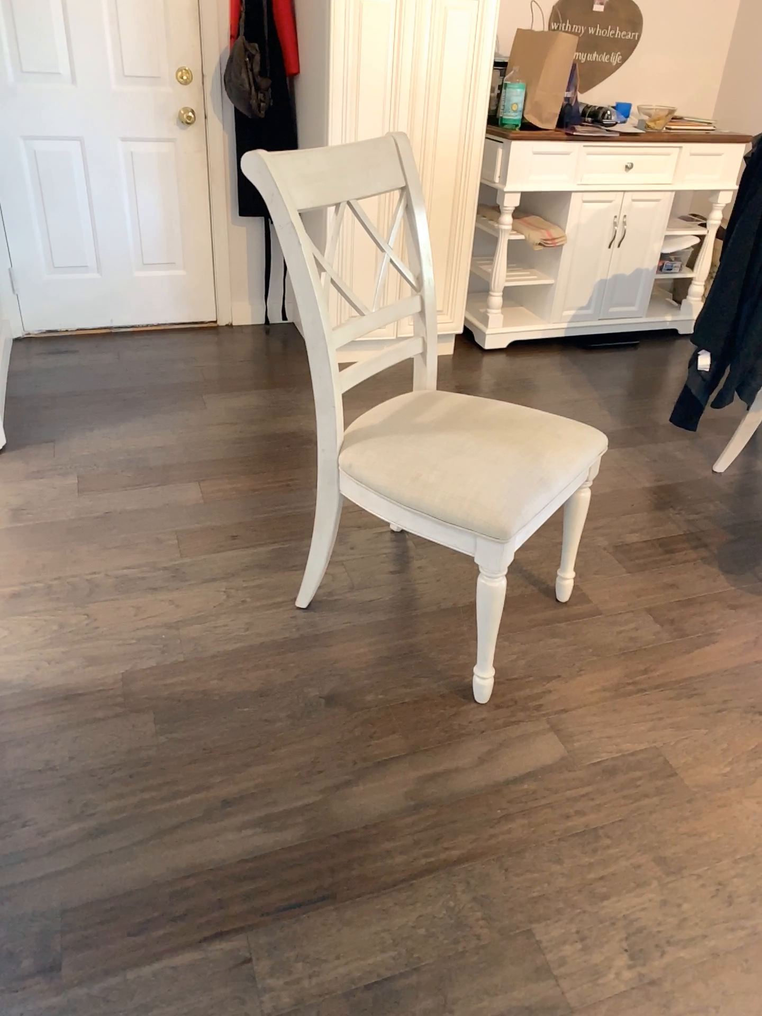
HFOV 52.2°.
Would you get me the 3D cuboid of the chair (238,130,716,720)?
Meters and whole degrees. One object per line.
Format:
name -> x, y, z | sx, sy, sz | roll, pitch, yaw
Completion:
chair -> 0.149, -0.209, 1.585 | 0.652, 0.924, 0.532 | 23, 36, 28
